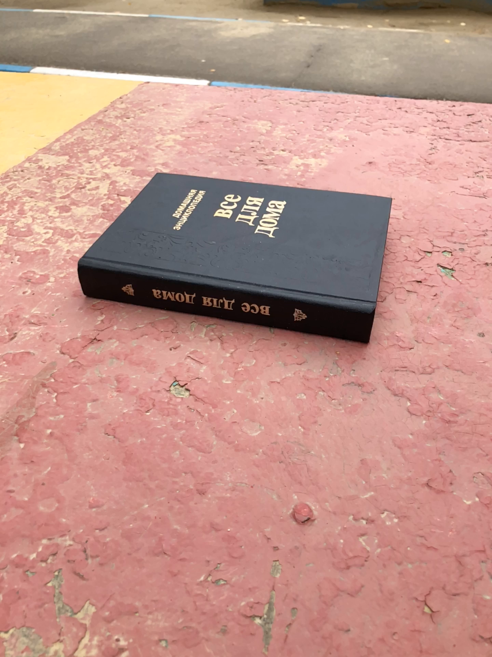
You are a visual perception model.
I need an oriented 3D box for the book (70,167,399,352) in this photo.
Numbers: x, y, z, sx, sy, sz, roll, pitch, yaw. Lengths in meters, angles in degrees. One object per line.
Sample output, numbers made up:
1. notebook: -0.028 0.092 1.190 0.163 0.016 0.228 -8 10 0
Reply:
1. book: 0.002 -0.063 0.414 0.210 0.040 0.150 9 41 12
